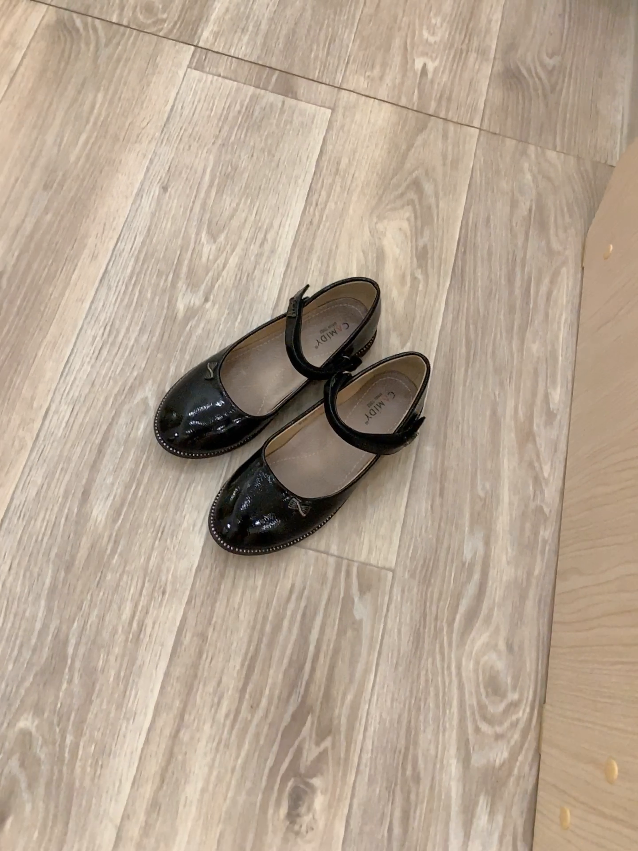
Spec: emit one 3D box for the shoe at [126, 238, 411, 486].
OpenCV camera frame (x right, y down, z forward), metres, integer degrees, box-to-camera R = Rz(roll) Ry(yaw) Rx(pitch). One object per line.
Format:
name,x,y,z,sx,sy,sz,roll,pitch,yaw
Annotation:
shoe,-0.045,-0.061,0.633,0.250,0.100,0.090,-35,78,-17

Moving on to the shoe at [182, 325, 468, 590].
shoe,0.006,0.030,0.609,0.250,0.100,0.090,-38,79,-18
